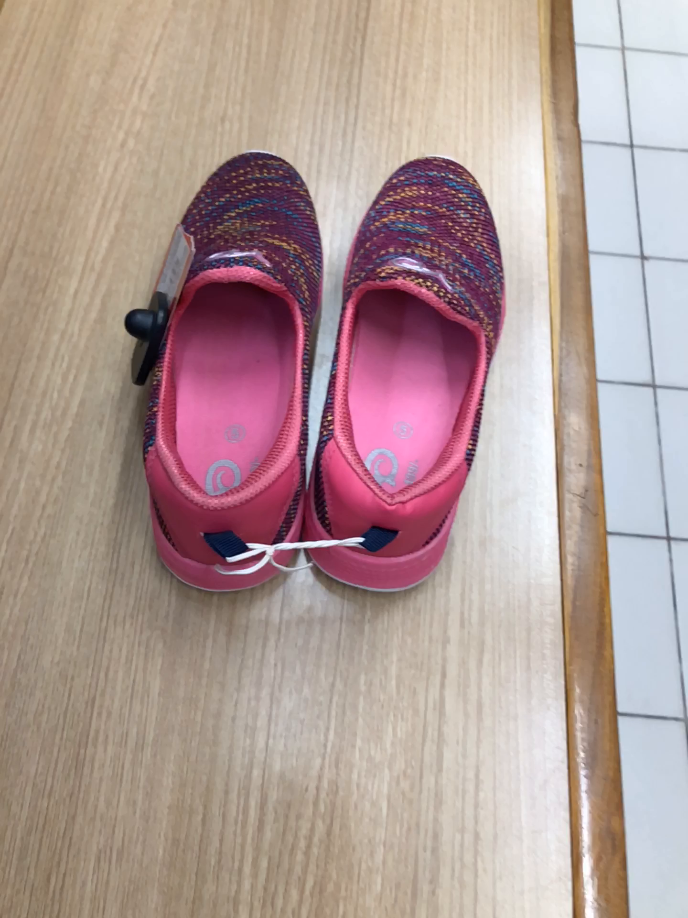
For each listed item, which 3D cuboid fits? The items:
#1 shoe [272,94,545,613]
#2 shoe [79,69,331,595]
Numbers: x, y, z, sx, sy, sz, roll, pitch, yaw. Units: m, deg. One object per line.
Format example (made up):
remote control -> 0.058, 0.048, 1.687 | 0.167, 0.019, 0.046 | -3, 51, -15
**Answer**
shoe -> 0.039, -0.061, 0.428 | 0.100, 0.100, 0.261 | 10, 67, 2
shoe -> -0.057, -0.066, 0.396 | 0.090, 0.100, 0.251 | 3, 67, -2
